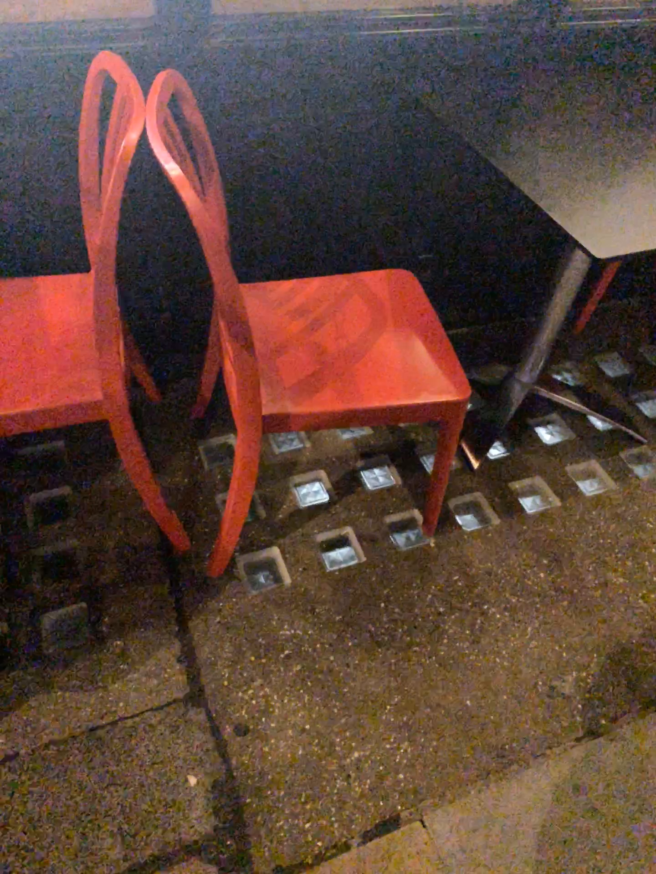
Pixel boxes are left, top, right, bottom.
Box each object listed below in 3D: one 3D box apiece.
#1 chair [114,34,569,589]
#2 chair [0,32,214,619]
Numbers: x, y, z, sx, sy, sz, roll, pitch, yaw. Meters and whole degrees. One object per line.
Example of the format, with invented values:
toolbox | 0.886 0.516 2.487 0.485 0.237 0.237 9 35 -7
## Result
chair | -0.045 -0.235 1.334 0.561 0.851 0.575 -10 46 -14
chair | -0.571 -0.190 1.252 0.541 0.851 0.545 -13 47 -16
